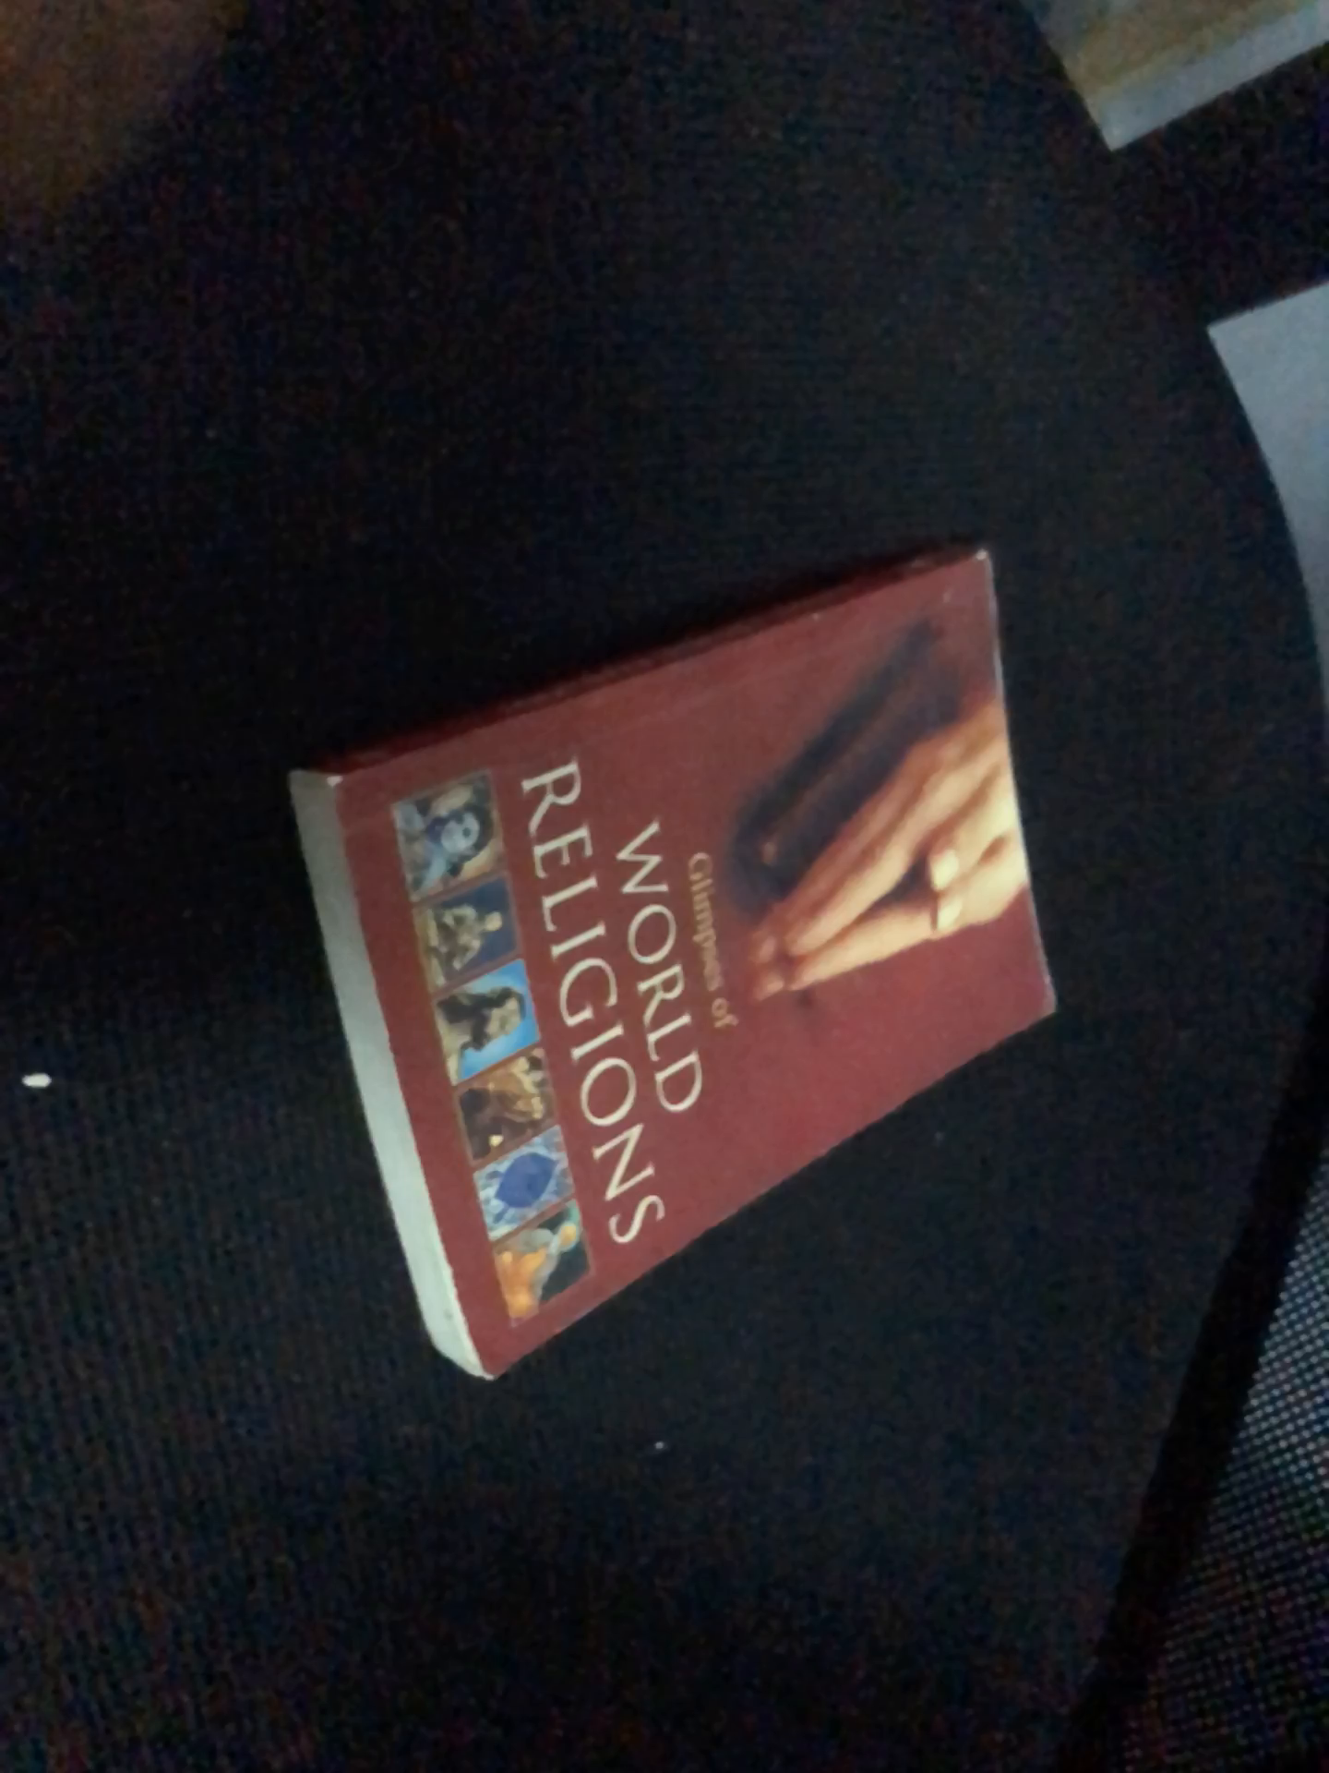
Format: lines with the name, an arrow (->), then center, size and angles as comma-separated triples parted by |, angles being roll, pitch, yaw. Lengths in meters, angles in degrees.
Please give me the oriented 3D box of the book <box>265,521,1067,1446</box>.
book -> 0.021, 0.009, 0.335 | 0.201, 0.020, 0.140 | -26, 116, -37
